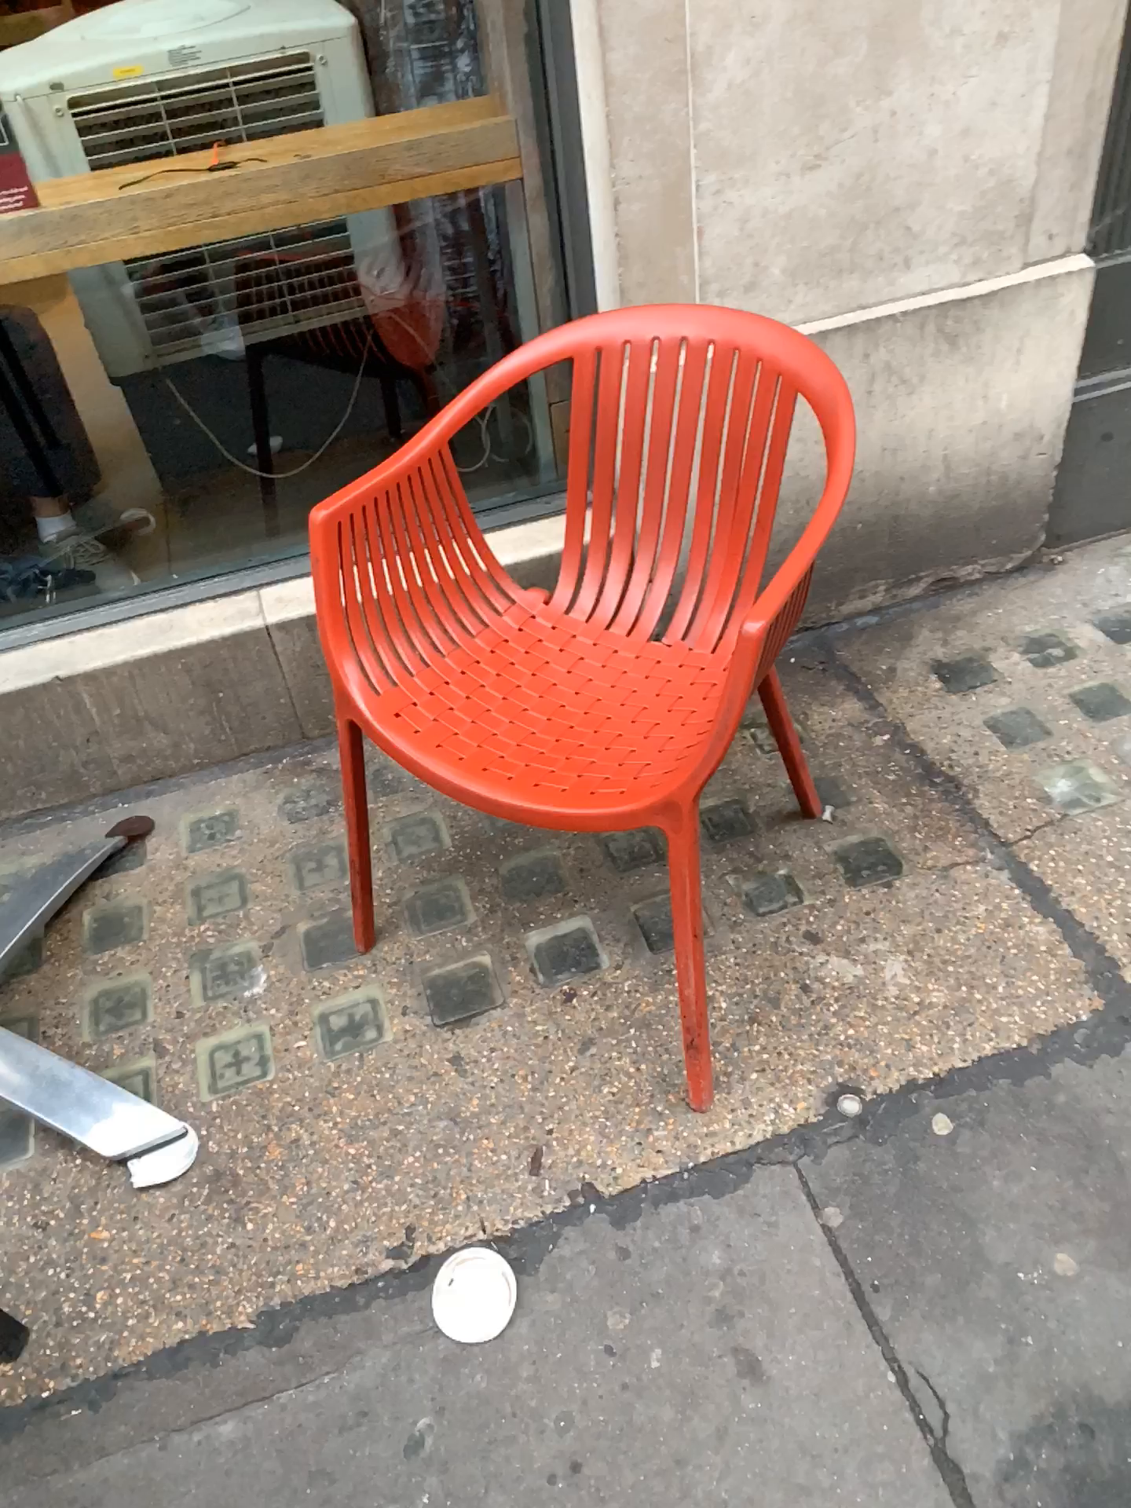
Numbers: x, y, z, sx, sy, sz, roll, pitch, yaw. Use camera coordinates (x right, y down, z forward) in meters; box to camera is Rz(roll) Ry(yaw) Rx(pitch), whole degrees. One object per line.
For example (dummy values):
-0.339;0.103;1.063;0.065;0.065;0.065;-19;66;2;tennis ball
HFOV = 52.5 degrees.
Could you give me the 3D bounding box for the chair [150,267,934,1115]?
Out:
0.034;-0.111;1.403;0.582;0.693;0.614;17;46;26;chair
